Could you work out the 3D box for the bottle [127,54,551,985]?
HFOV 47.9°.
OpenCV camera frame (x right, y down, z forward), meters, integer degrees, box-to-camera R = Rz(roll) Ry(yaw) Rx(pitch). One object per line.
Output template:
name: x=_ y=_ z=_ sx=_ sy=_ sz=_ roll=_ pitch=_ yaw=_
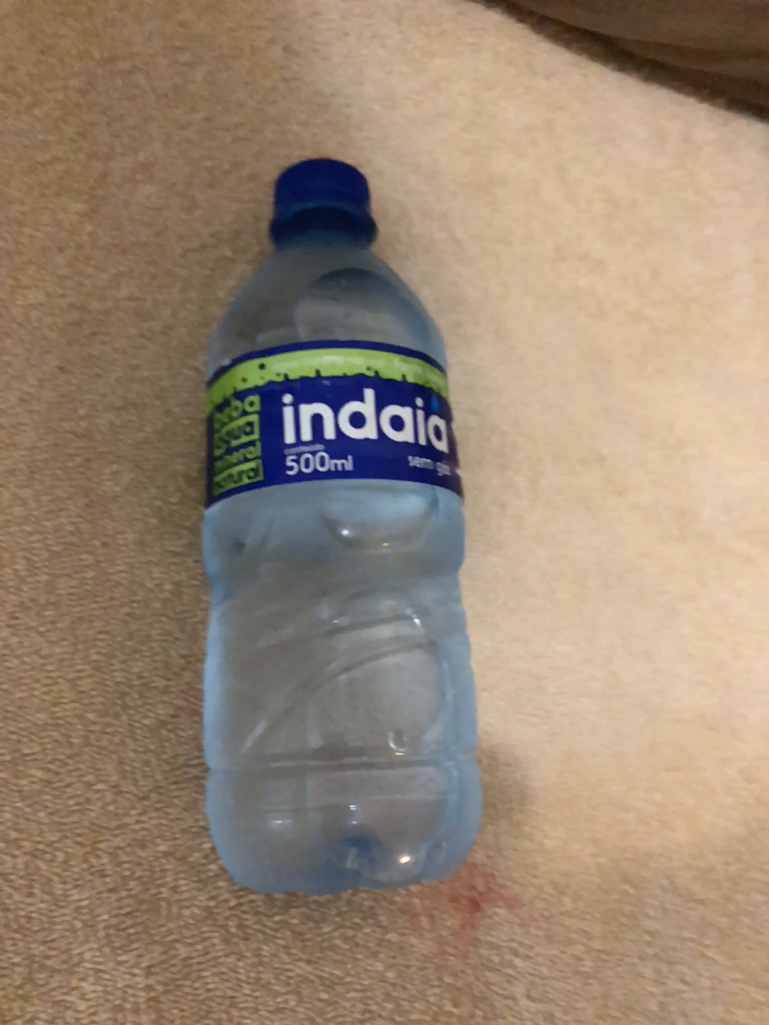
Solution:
bottle: x=-0.020 y=-0.006 z=0.225 sx=0.080 sy=0.050 sz=0.210 roll=1 pitch=73 yaw=-22
